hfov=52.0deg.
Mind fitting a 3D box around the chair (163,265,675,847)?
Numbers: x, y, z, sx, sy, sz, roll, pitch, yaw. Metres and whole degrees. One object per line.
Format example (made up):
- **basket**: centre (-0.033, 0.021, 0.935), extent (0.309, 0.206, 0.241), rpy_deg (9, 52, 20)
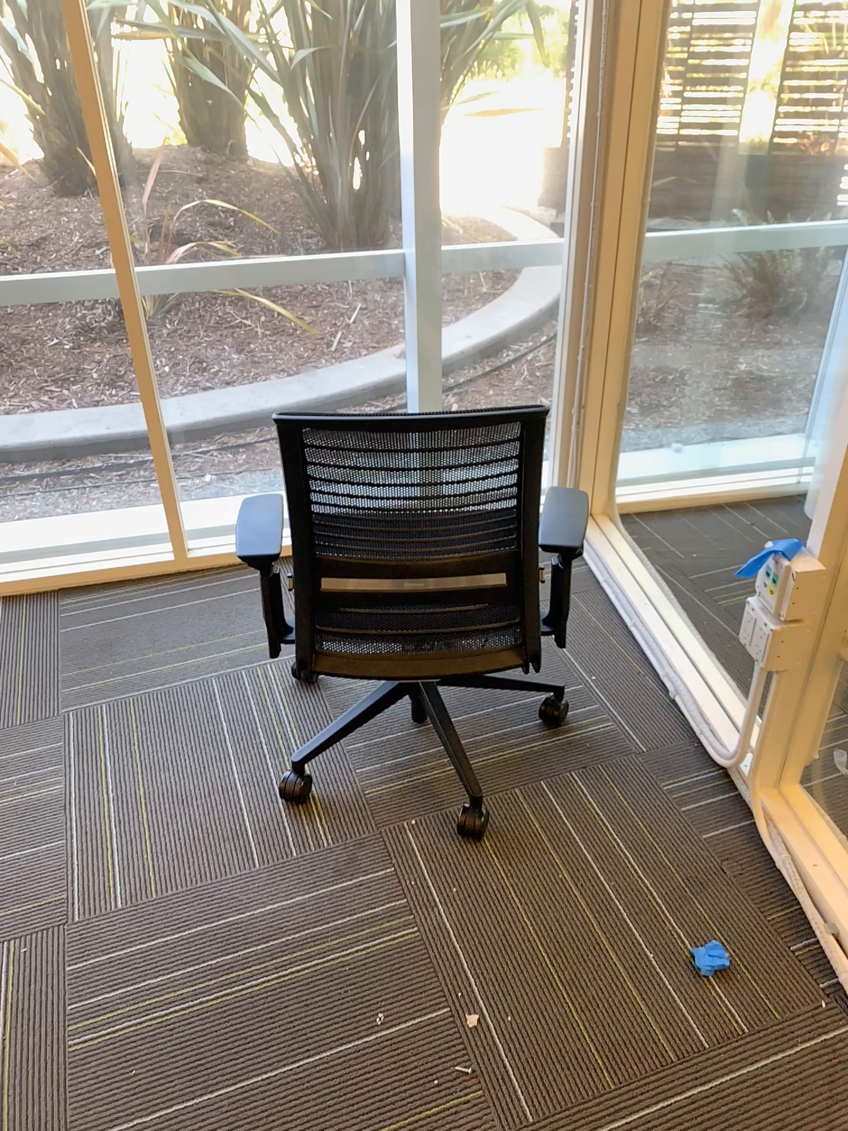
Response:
- **chair**: centre (-0.005, -0.042, 1.737), extent (0.700, 0.894, 0.735), rpy_deg (-1, 33, 0)
